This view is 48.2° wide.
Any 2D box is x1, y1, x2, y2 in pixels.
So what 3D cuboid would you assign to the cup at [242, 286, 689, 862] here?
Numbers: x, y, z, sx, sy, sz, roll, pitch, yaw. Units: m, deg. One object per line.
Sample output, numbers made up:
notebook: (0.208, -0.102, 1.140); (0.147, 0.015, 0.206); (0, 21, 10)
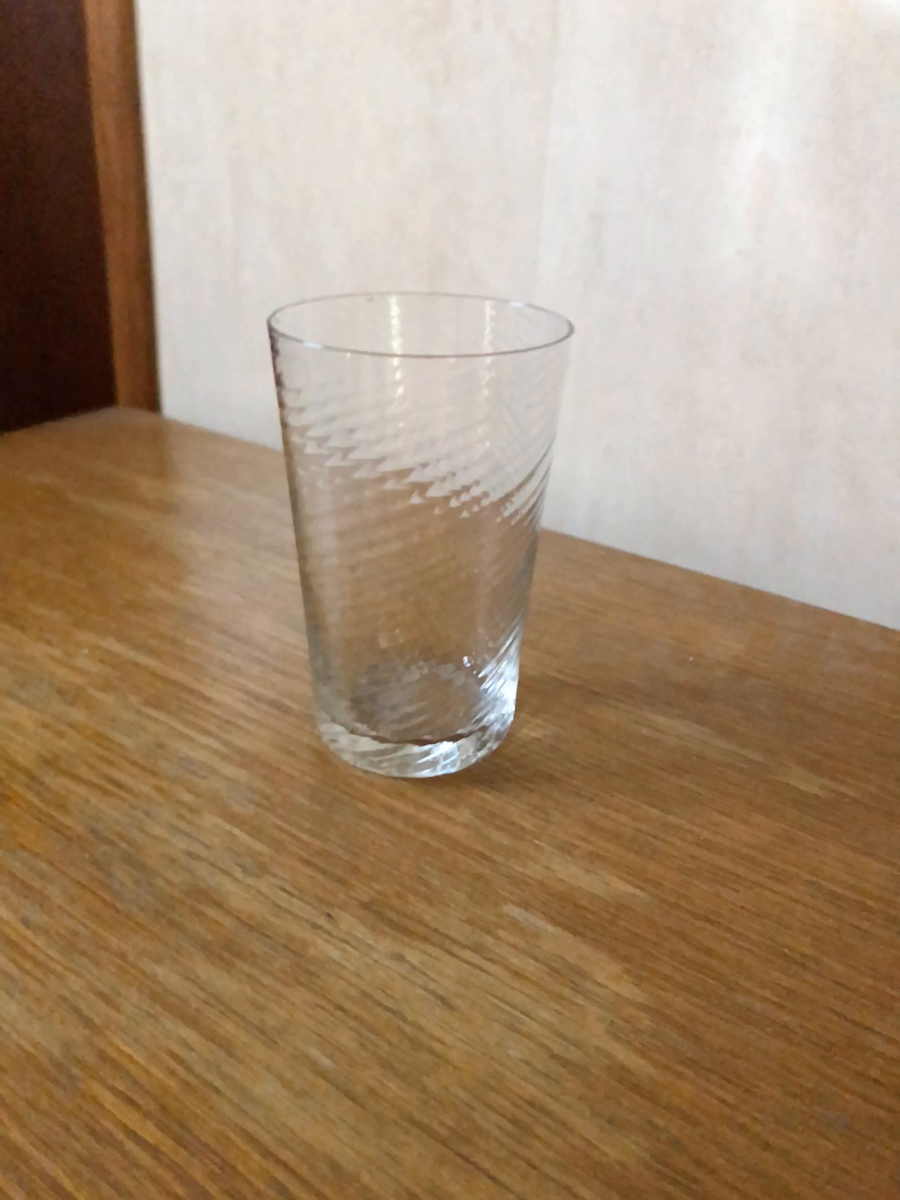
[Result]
cup: (0.000, -0.013, 0.262); (0.080, 0.119, 0.070); (-14, 30, -31)
